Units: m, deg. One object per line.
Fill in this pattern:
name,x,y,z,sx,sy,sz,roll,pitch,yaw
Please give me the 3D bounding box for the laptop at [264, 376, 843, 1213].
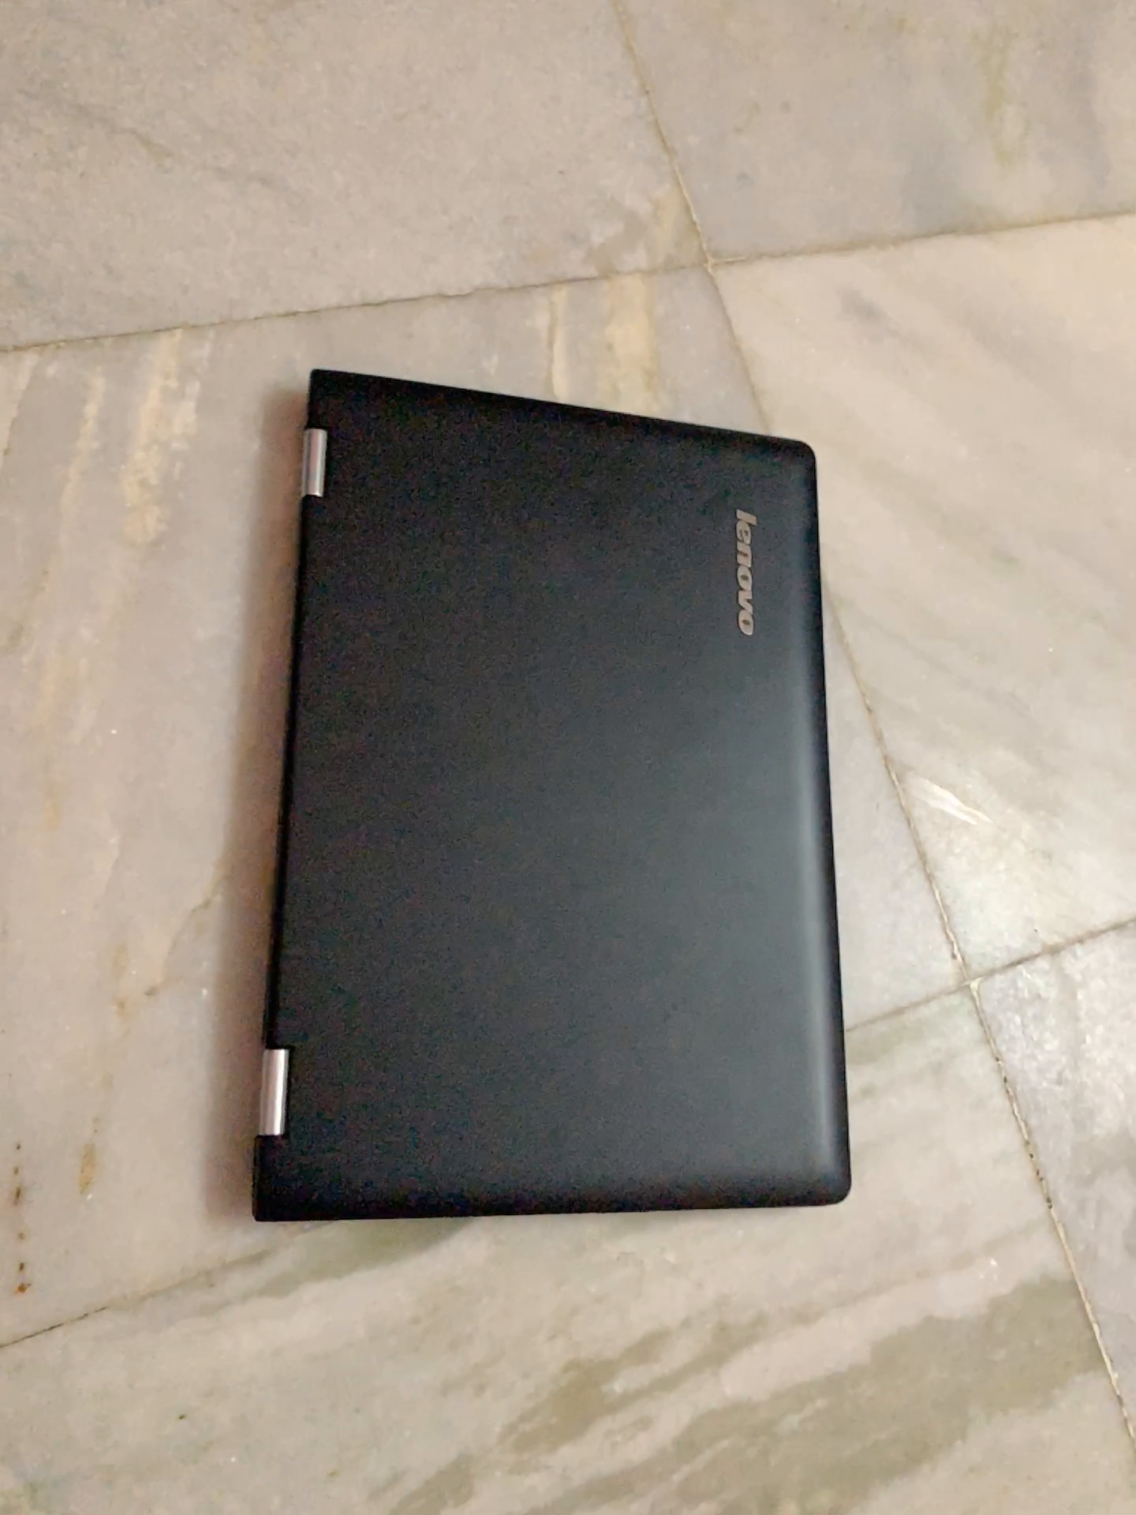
laptop,0.003,0.008,0.474,0.223,0.001,0.325,4,76,-15
